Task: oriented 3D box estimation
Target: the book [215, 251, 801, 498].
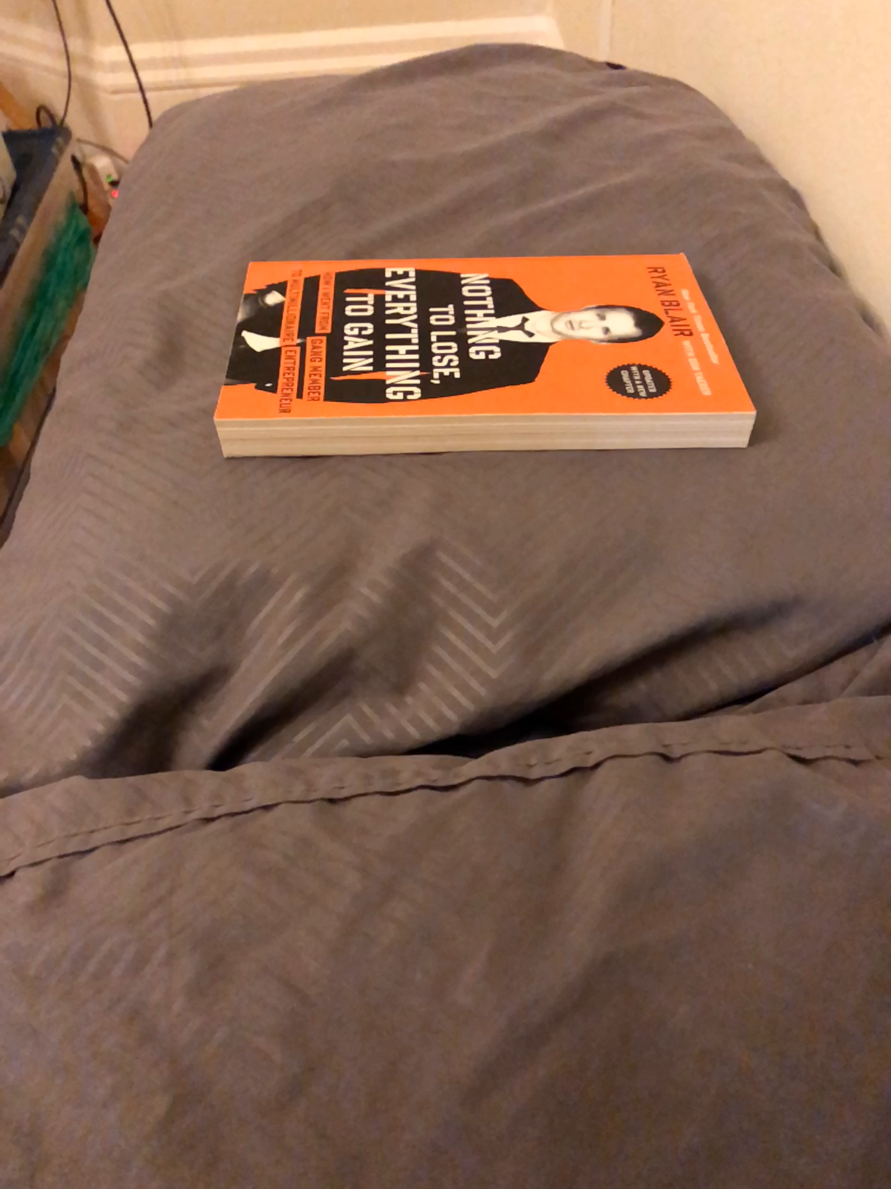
[{"bbox_3d":[0.022,-0.105,0.443,0.230,0.020,0.151,-2,48,-2],"label":"book"}]
